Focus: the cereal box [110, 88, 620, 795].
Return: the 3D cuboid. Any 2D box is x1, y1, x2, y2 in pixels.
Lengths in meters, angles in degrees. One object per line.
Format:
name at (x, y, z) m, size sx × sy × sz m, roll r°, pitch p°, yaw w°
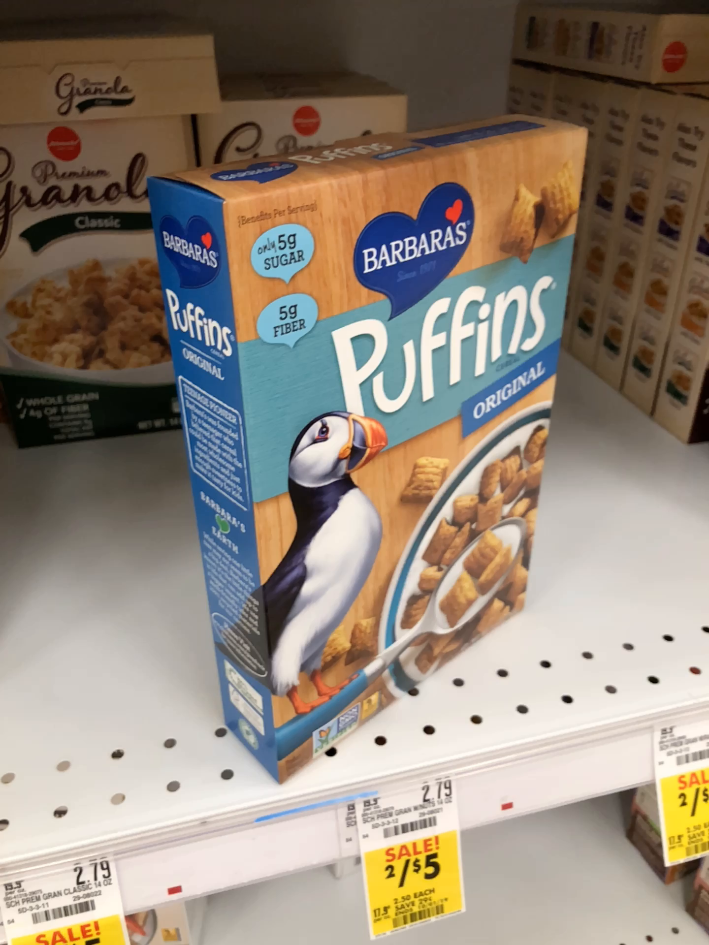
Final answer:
cereal box at (0.018, -0.015, 0.351) m, size 0.190 × 0.259 × 0.060 m, roll -26°, pitch 40°, yaw -33°
